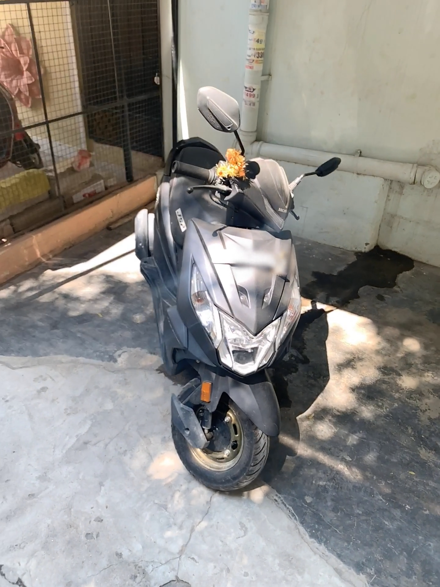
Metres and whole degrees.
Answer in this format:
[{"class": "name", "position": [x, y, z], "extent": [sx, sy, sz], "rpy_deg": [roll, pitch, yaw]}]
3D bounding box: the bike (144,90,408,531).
[{"class": "bike", "position": [0.030, -0.043, 2.087], "extent": [0.502, 1.277, 1.516], "rpy_deg": [-6, 38, -13]}]
